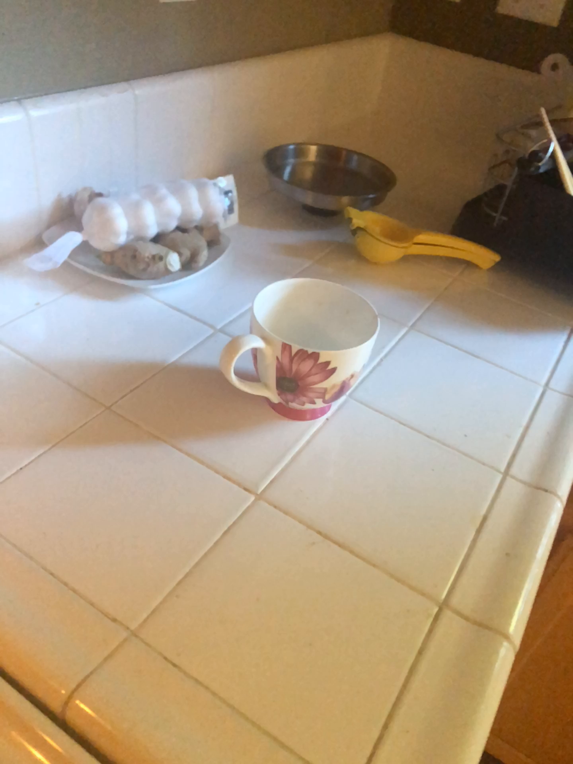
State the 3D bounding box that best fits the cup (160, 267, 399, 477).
[{"bbox_3d":[-0.006,-0.017,0.543,0.171,0.089,0.100,-25,51,-37],"label":"cup"}]
